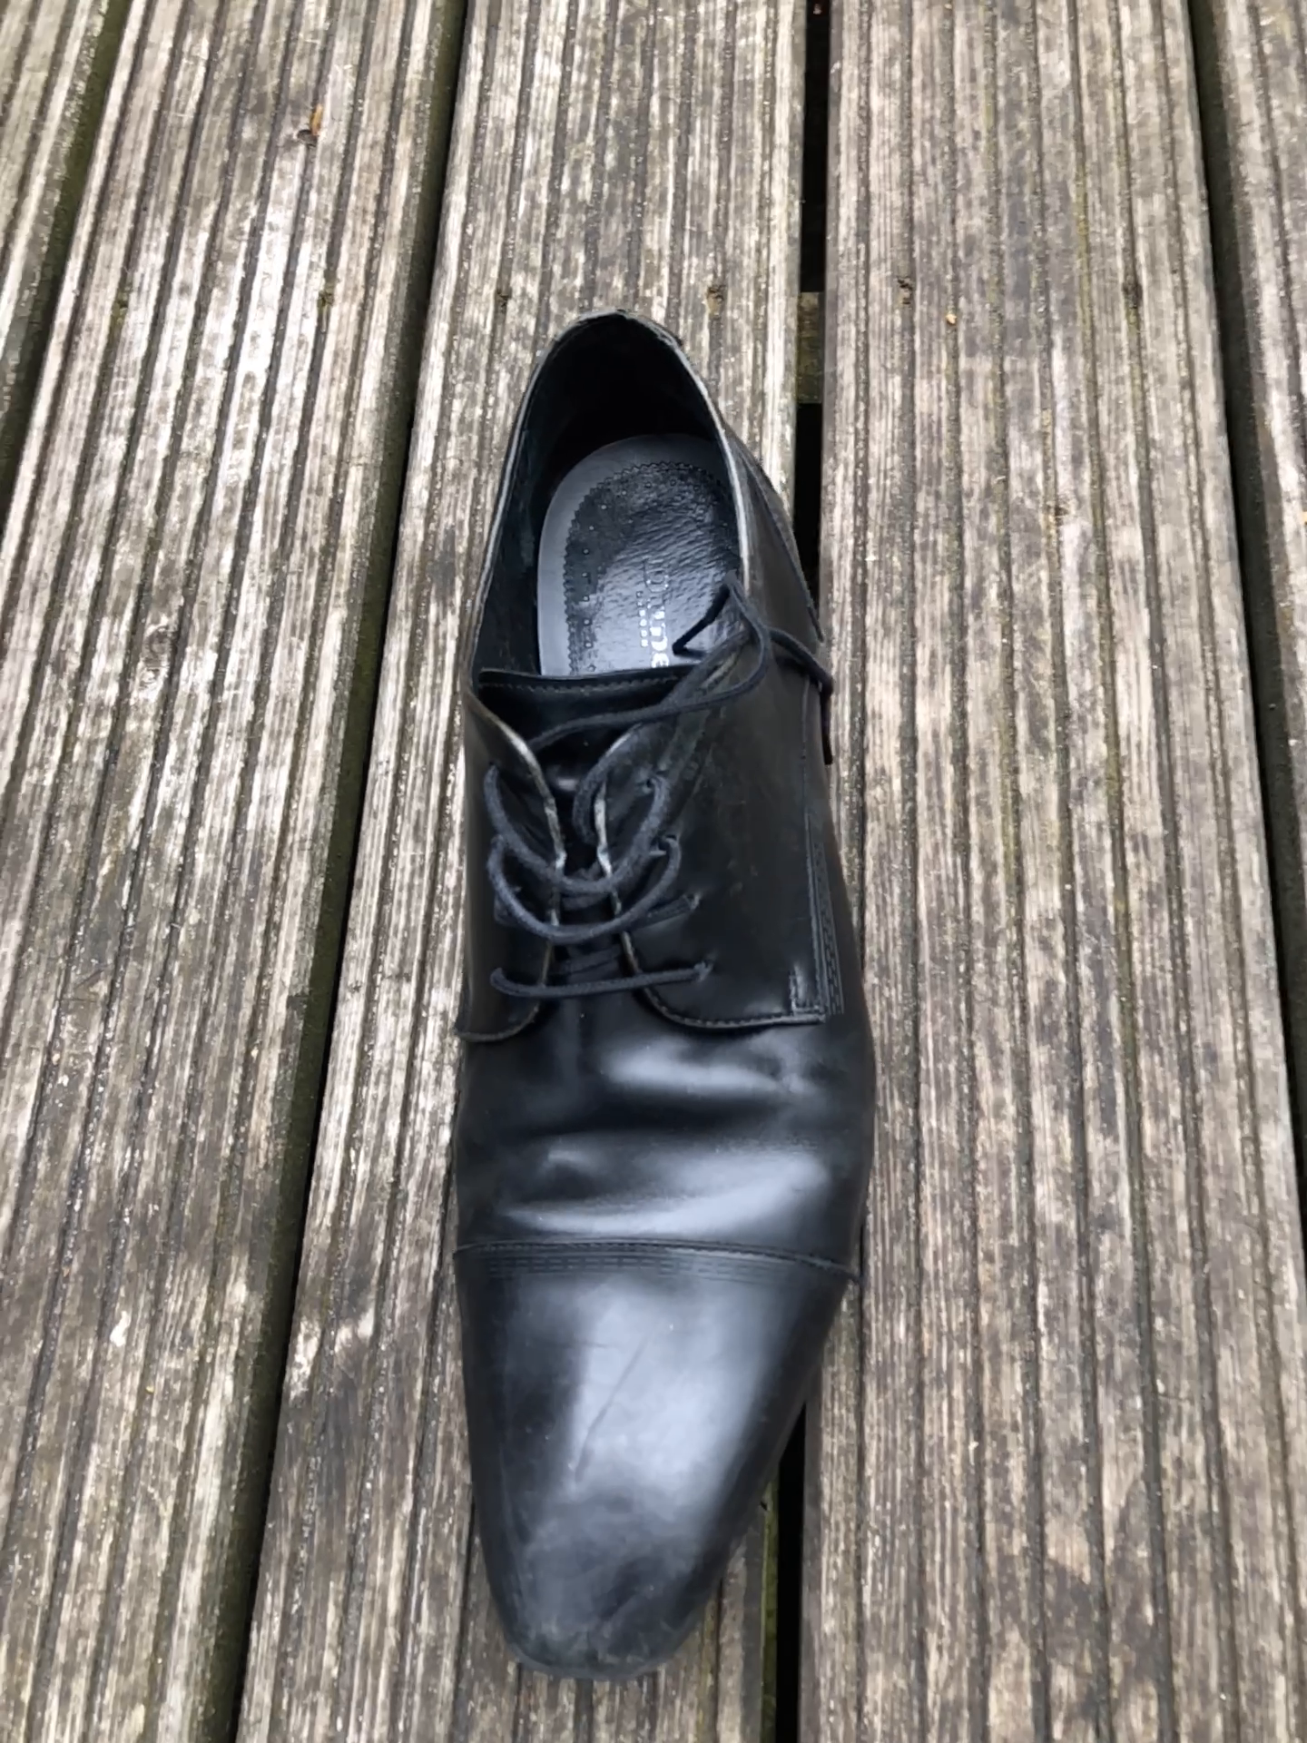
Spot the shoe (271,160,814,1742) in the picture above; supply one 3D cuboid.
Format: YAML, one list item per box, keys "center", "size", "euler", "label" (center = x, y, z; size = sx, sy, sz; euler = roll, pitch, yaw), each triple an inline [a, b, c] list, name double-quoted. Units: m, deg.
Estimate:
- center: [-0.007, 0.014, 0.364]
  size: [0.090, 0.150, 0.341]
  euler: [-1, 70, 6]
  label: "shoe"
